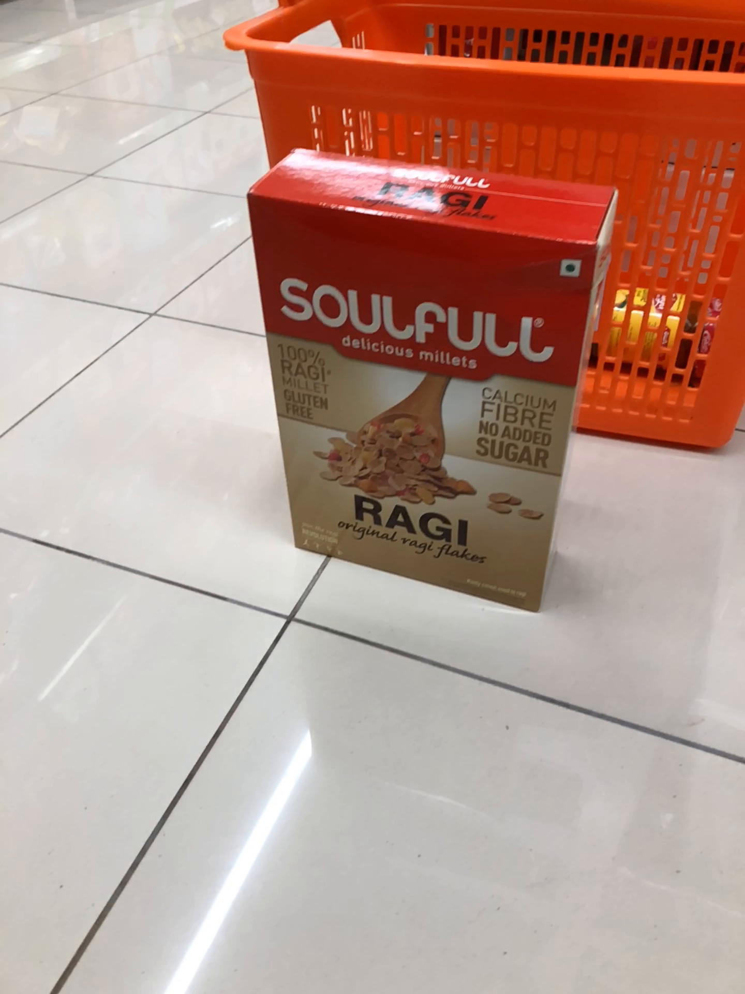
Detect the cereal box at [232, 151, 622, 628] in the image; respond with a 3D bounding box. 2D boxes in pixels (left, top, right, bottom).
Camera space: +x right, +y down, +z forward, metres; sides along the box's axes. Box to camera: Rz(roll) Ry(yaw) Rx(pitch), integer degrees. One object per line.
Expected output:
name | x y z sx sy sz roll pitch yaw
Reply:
cereal box | 0.027 -0.051 0.457 0.170 0.238 0.060 13 42 17
